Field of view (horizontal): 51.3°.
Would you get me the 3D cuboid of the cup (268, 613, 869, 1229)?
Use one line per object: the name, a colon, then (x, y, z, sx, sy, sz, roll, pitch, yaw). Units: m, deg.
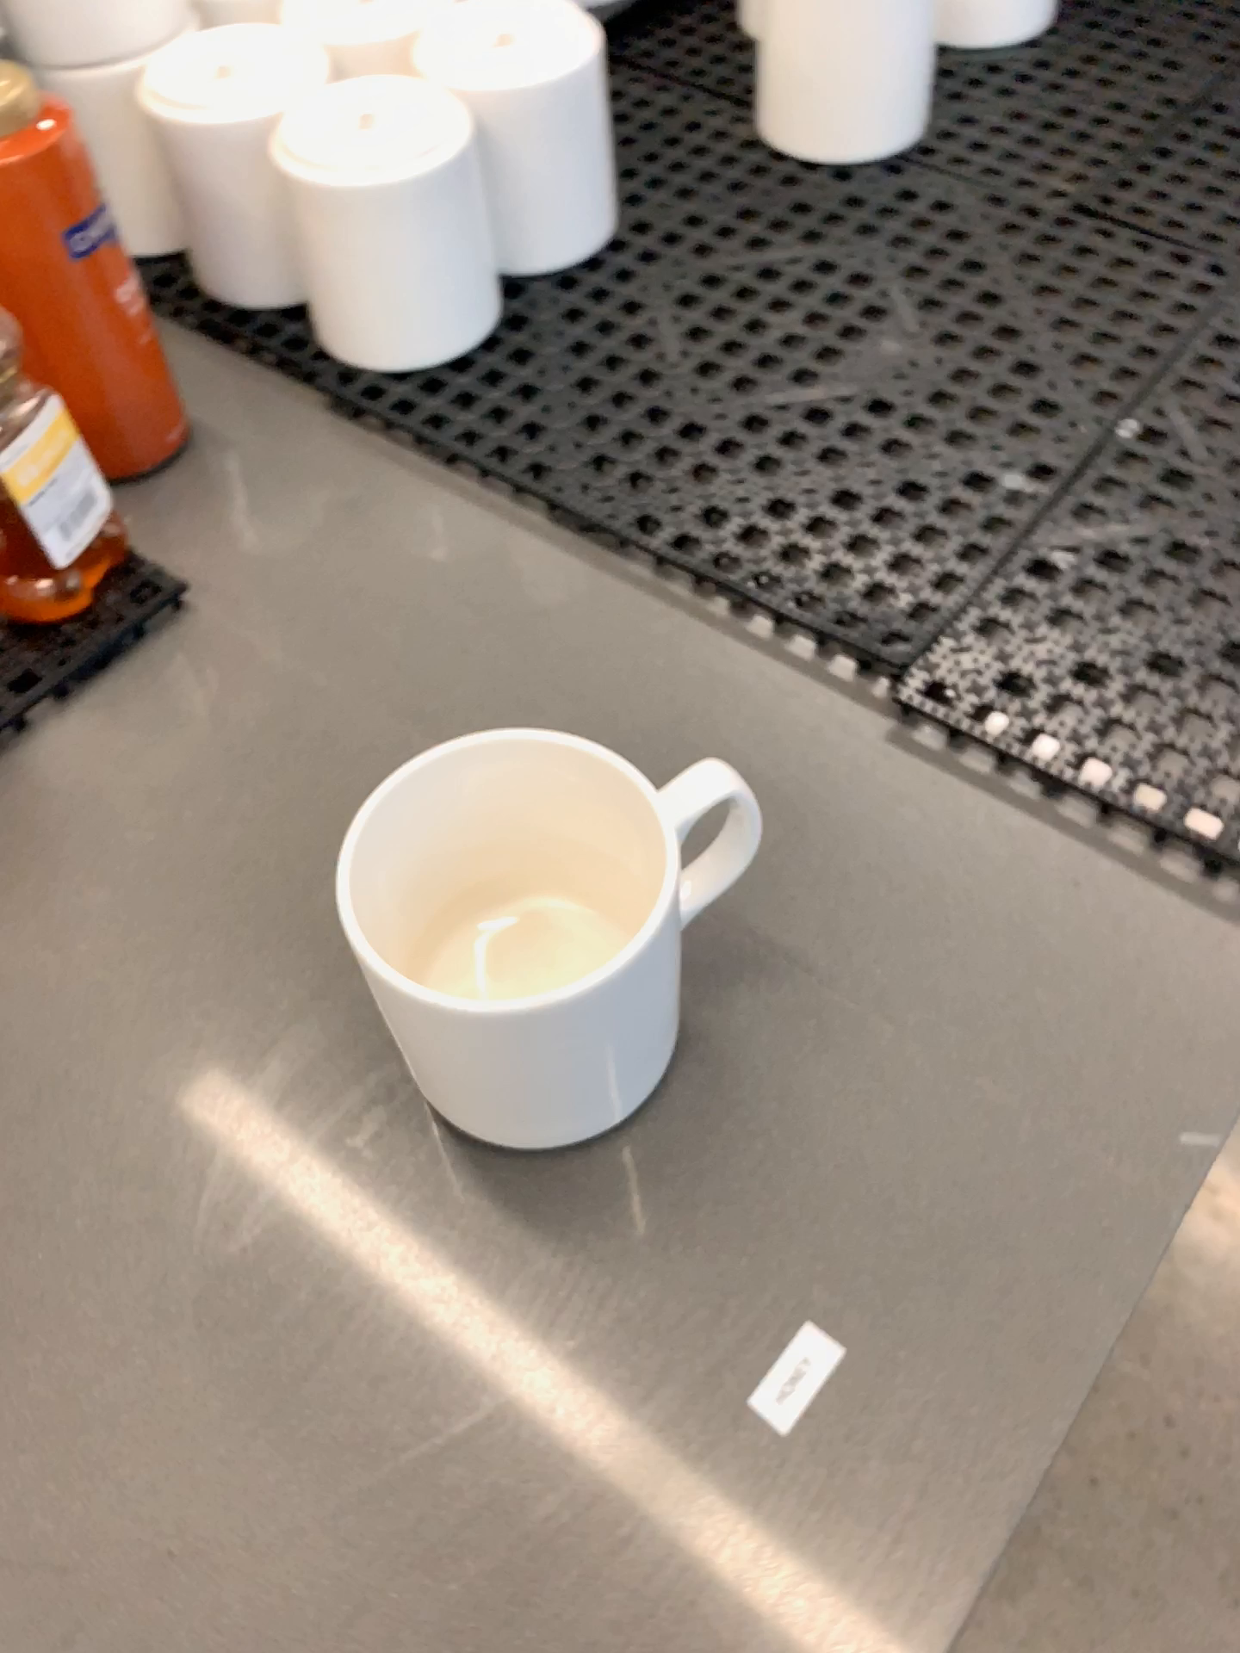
cup: (-0.012, 0.025, 0.356, 0.120, 0.090, 0.090, -30, 57, -17)
